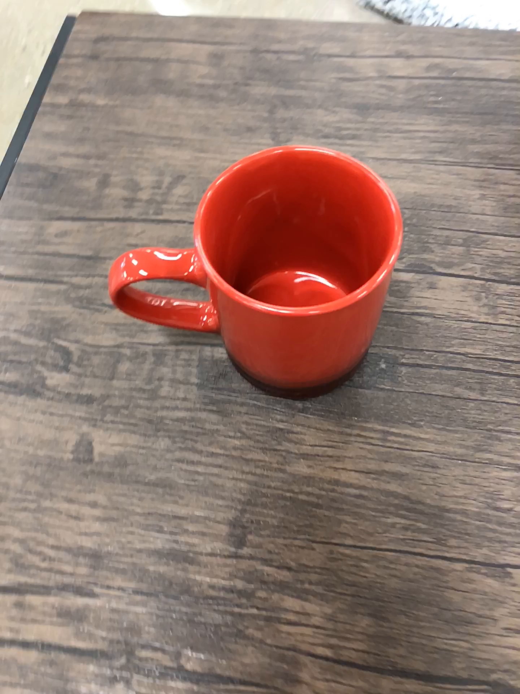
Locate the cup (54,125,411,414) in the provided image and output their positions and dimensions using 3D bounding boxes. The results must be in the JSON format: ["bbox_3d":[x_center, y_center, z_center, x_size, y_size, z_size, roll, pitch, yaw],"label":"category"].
[{"bbox_3d":[-0.007,-0.033,0.296,0.140,0.110,0.100,1,64,4],"label":"cup"}]
